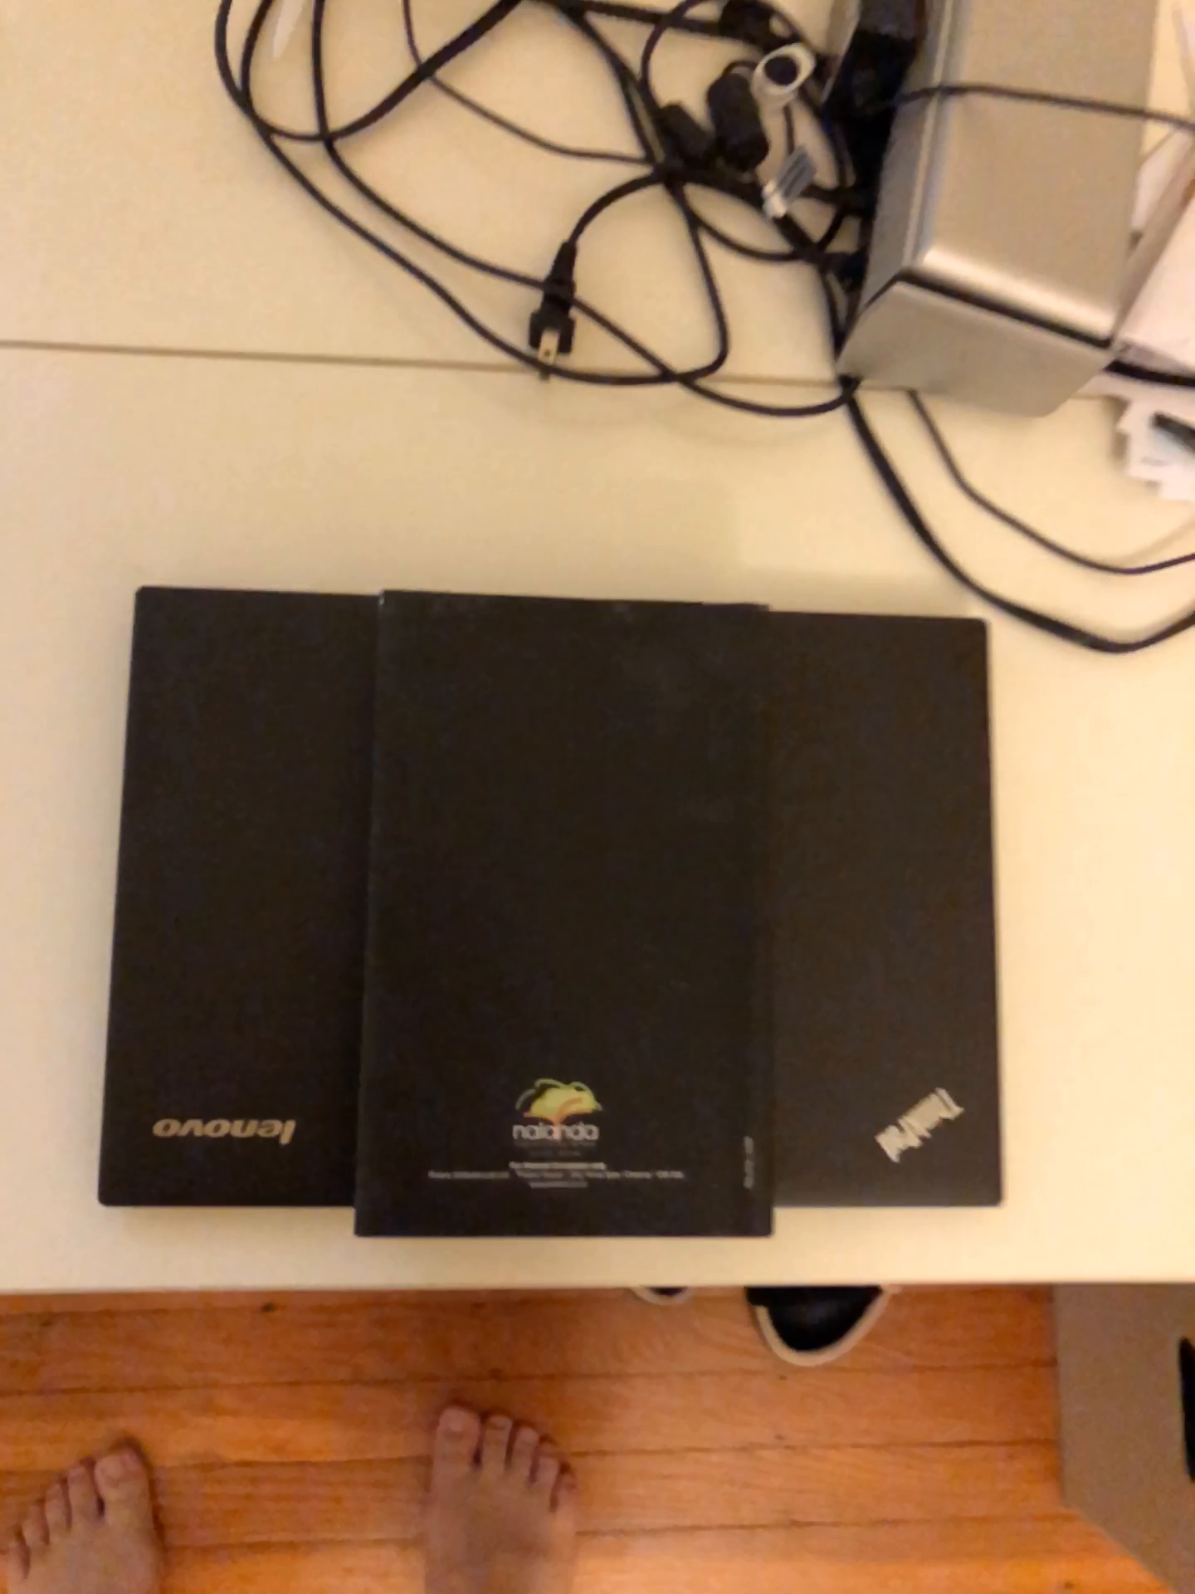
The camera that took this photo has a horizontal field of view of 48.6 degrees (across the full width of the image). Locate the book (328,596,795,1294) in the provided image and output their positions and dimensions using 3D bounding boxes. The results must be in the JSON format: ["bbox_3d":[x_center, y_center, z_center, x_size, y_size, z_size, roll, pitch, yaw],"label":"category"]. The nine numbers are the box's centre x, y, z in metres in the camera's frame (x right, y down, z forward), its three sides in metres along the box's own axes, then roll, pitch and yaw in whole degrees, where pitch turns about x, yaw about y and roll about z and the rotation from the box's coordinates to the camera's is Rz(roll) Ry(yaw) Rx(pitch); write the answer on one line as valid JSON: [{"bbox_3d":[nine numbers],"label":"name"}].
[{"bbox_3d":[-0.012,0.049,0.464,0.150,0.040,0.230,1,80,-5],"label":"book"}]
